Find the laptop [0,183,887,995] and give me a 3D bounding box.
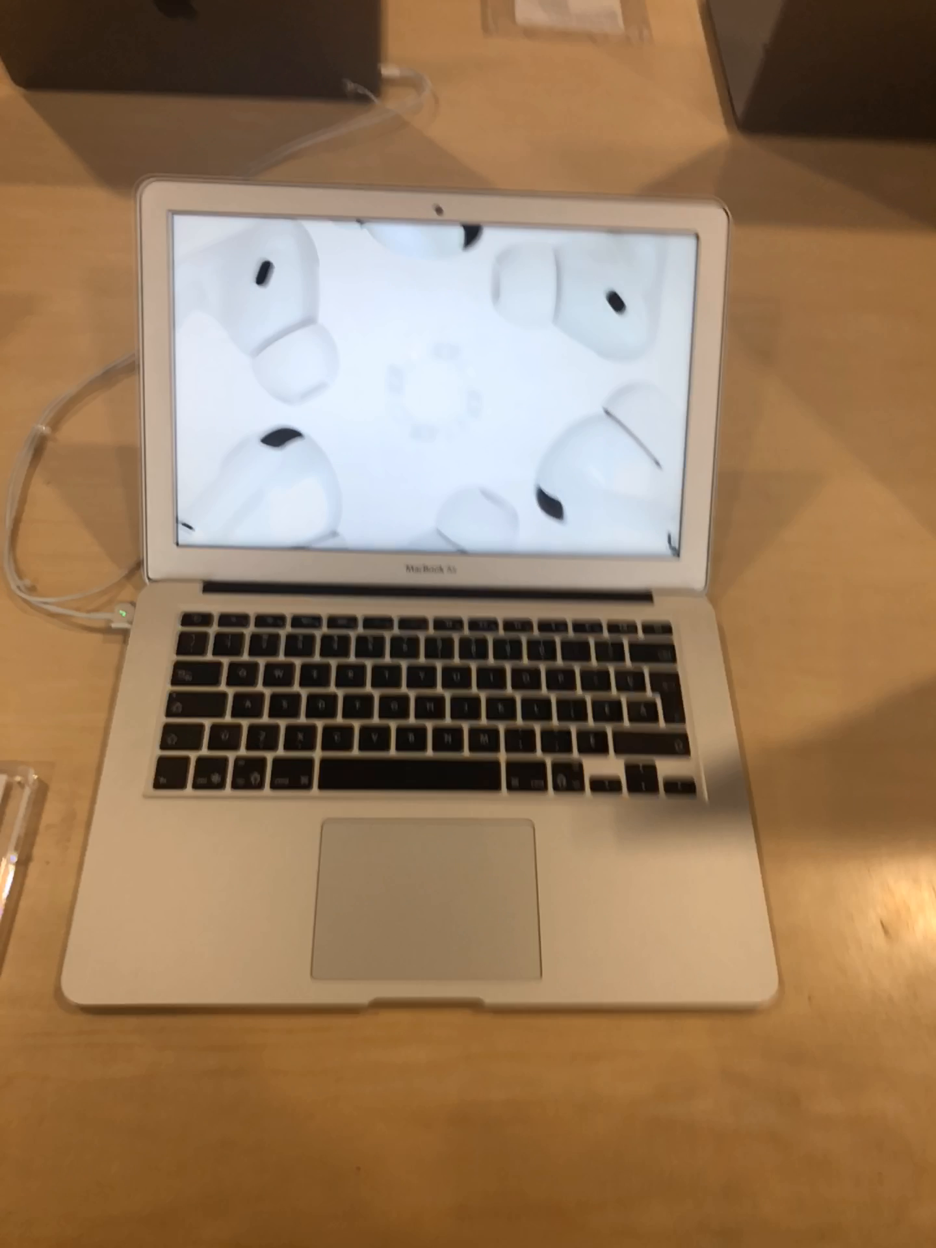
[{"bbox_3d":[-0.017,-0.031,0.495,0.302,0.137,0.371,1,56,-3],"label":"laptop"}]
